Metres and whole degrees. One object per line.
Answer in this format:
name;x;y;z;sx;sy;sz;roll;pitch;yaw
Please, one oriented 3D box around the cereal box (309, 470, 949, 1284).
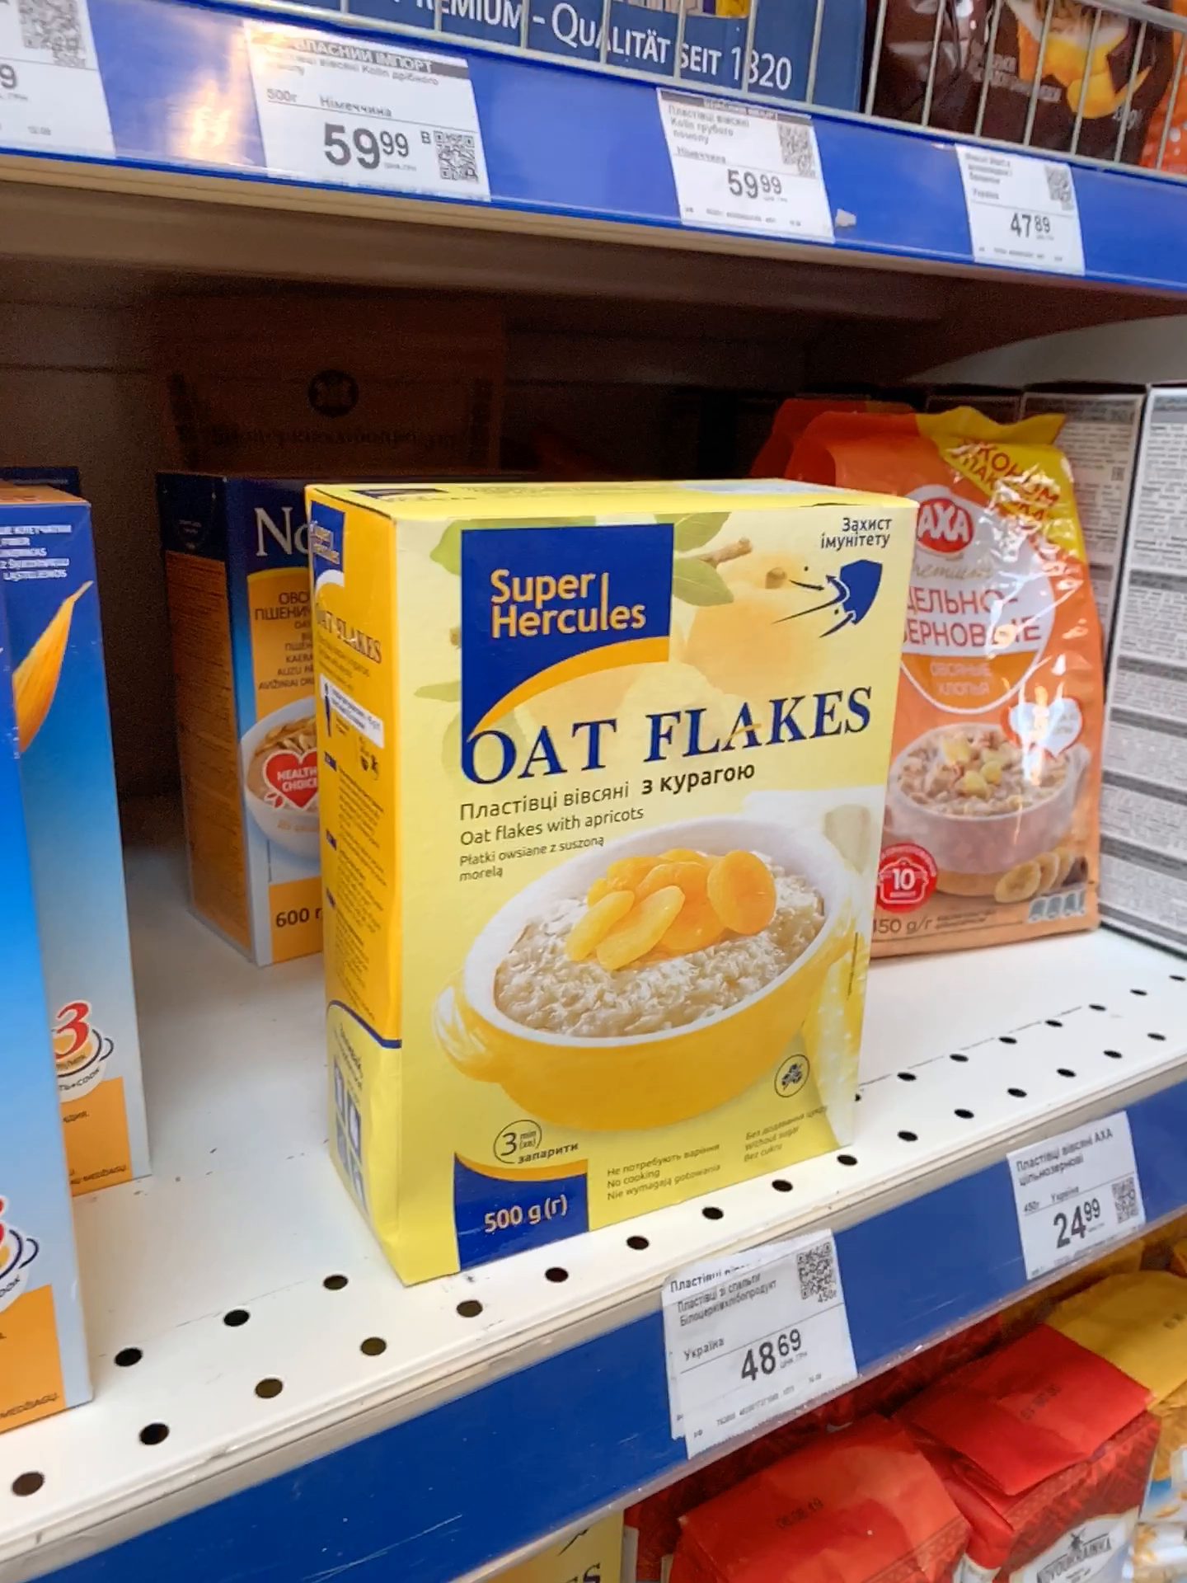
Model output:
cereal box;0.009;0.012;0.335;0.150;0.189;0.060;-8;19;-28
